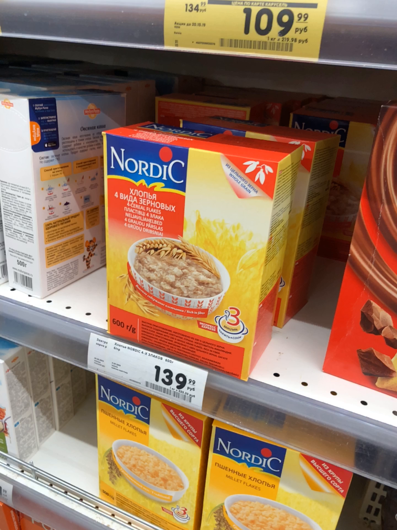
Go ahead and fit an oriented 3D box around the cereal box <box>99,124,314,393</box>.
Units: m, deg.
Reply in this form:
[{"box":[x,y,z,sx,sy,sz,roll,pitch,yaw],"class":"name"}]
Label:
[{"box":[0.002,-0.012,0.386,0.150,0.189,0.080,15,27,21],"class":"cereal box"}]
